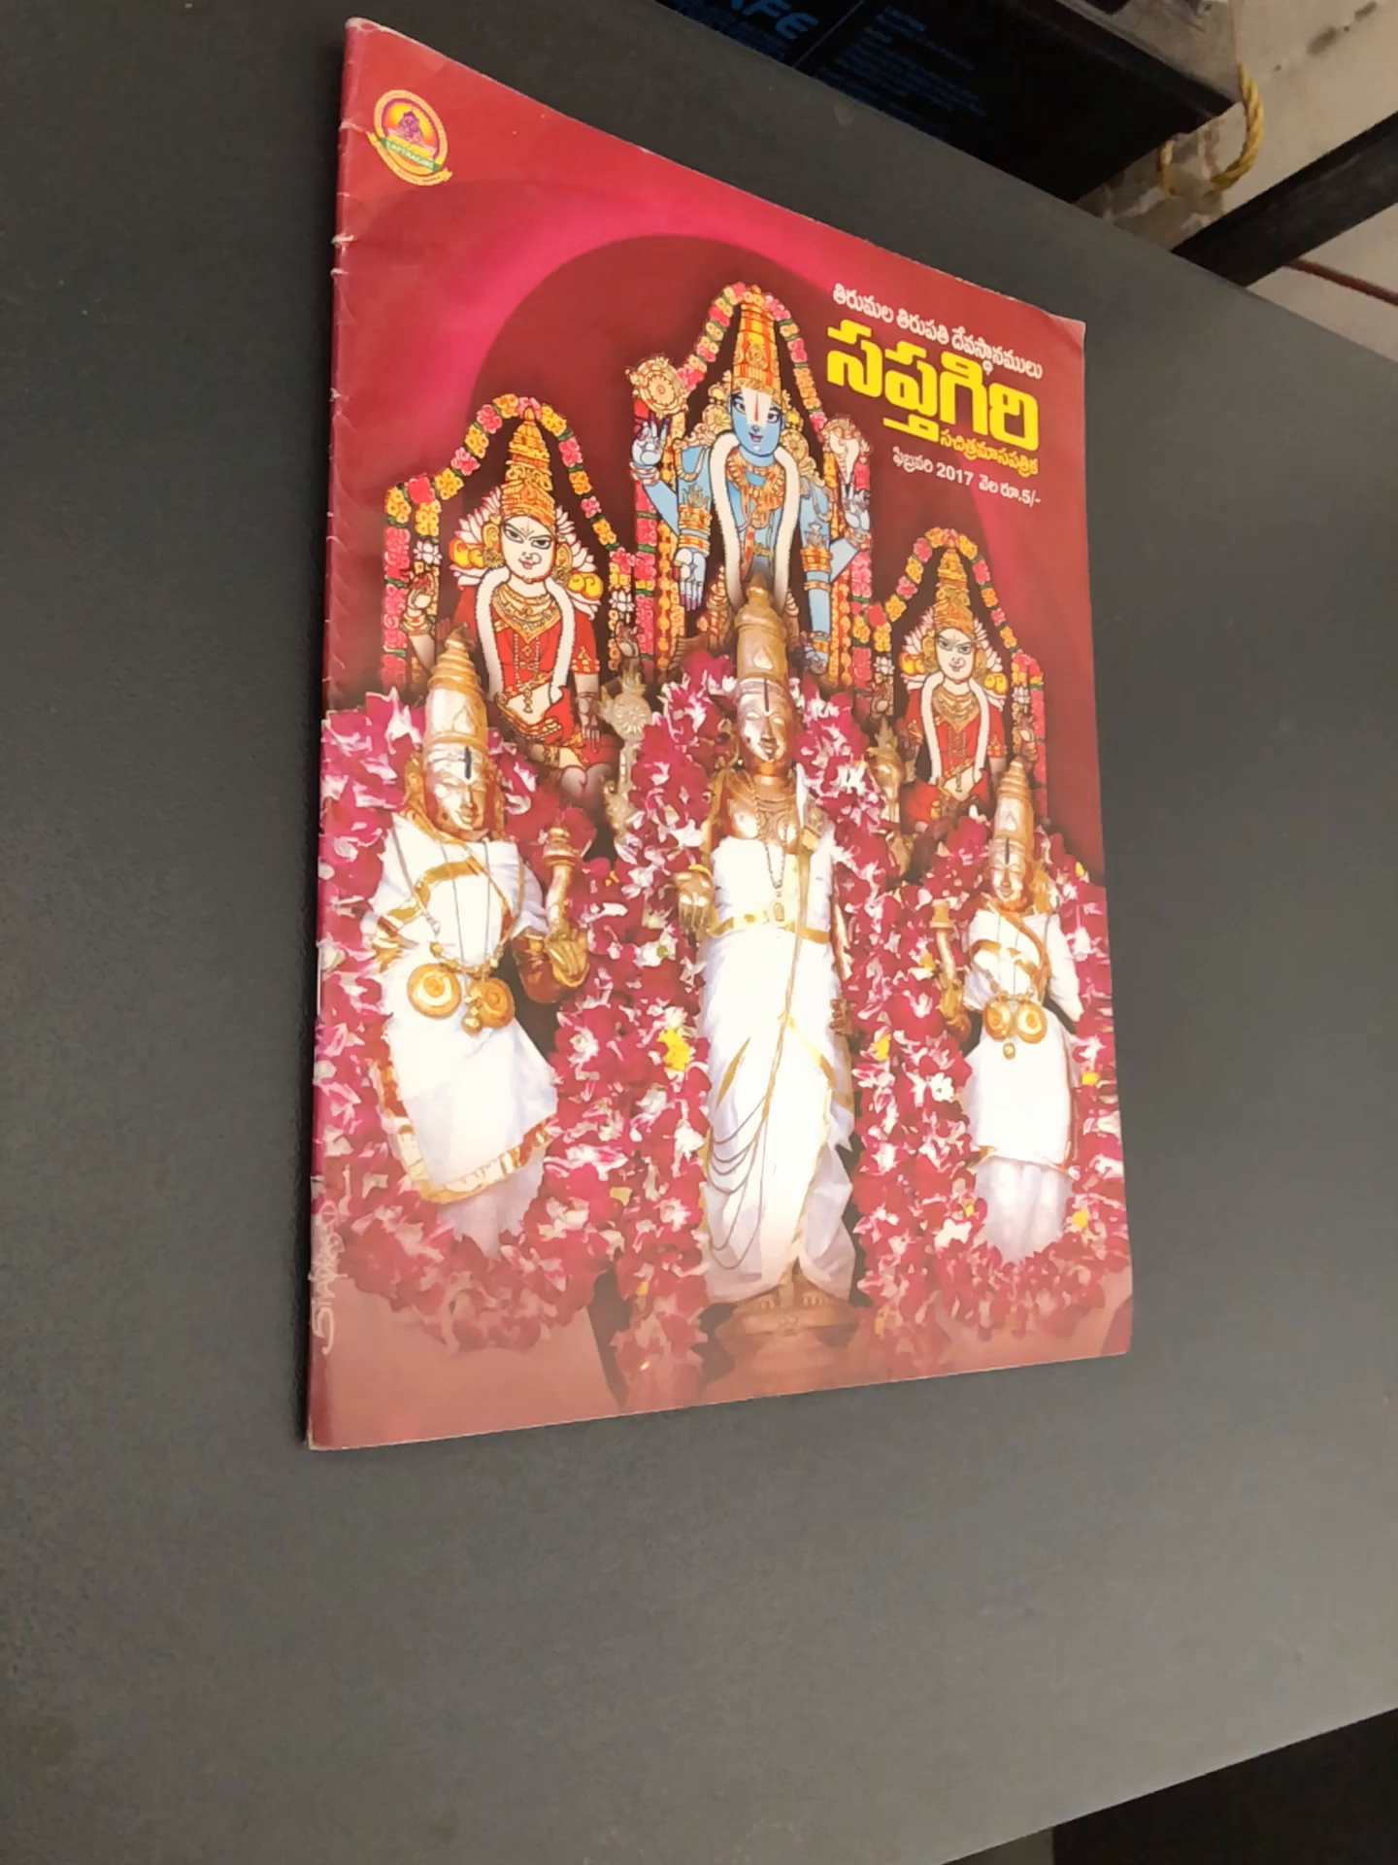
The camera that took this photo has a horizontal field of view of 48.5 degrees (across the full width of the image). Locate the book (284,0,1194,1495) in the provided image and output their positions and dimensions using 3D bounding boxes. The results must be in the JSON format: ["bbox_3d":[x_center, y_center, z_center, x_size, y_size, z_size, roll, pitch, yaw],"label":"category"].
[{"bbox_3d":[0.018,-0.034,0.327,0.201,0.030,0.260,4,80,-34],"label":"book"}]
